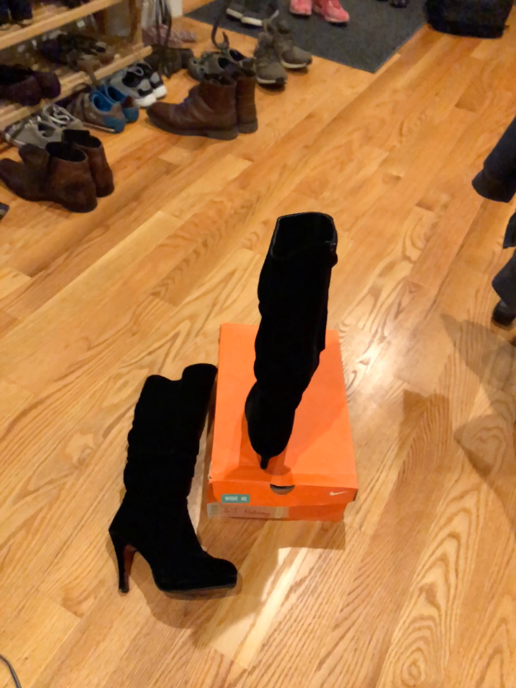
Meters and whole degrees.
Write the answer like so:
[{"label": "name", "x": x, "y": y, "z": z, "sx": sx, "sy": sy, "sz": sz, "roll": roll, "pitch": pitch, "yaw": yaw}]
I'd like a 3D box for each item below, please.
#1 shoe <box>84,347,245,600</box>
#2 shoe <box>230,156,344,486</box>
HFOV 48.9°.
[{"label": "shoe", "x": -0.127, "y": 0.186, "z": 0.911, "sx": 0.206, "sy": 0.089, "sz": 0.401, "roll": 2, "pitch": 47, "yaw": -3}, {"label": "shoe", "x": 0.029, "y": -0.010, "z": 0.761, "sx": 0.089, "sy": 0.397, "sz": 0.217, "roll": 7, "pitch": 47, "yaw": 0}]
